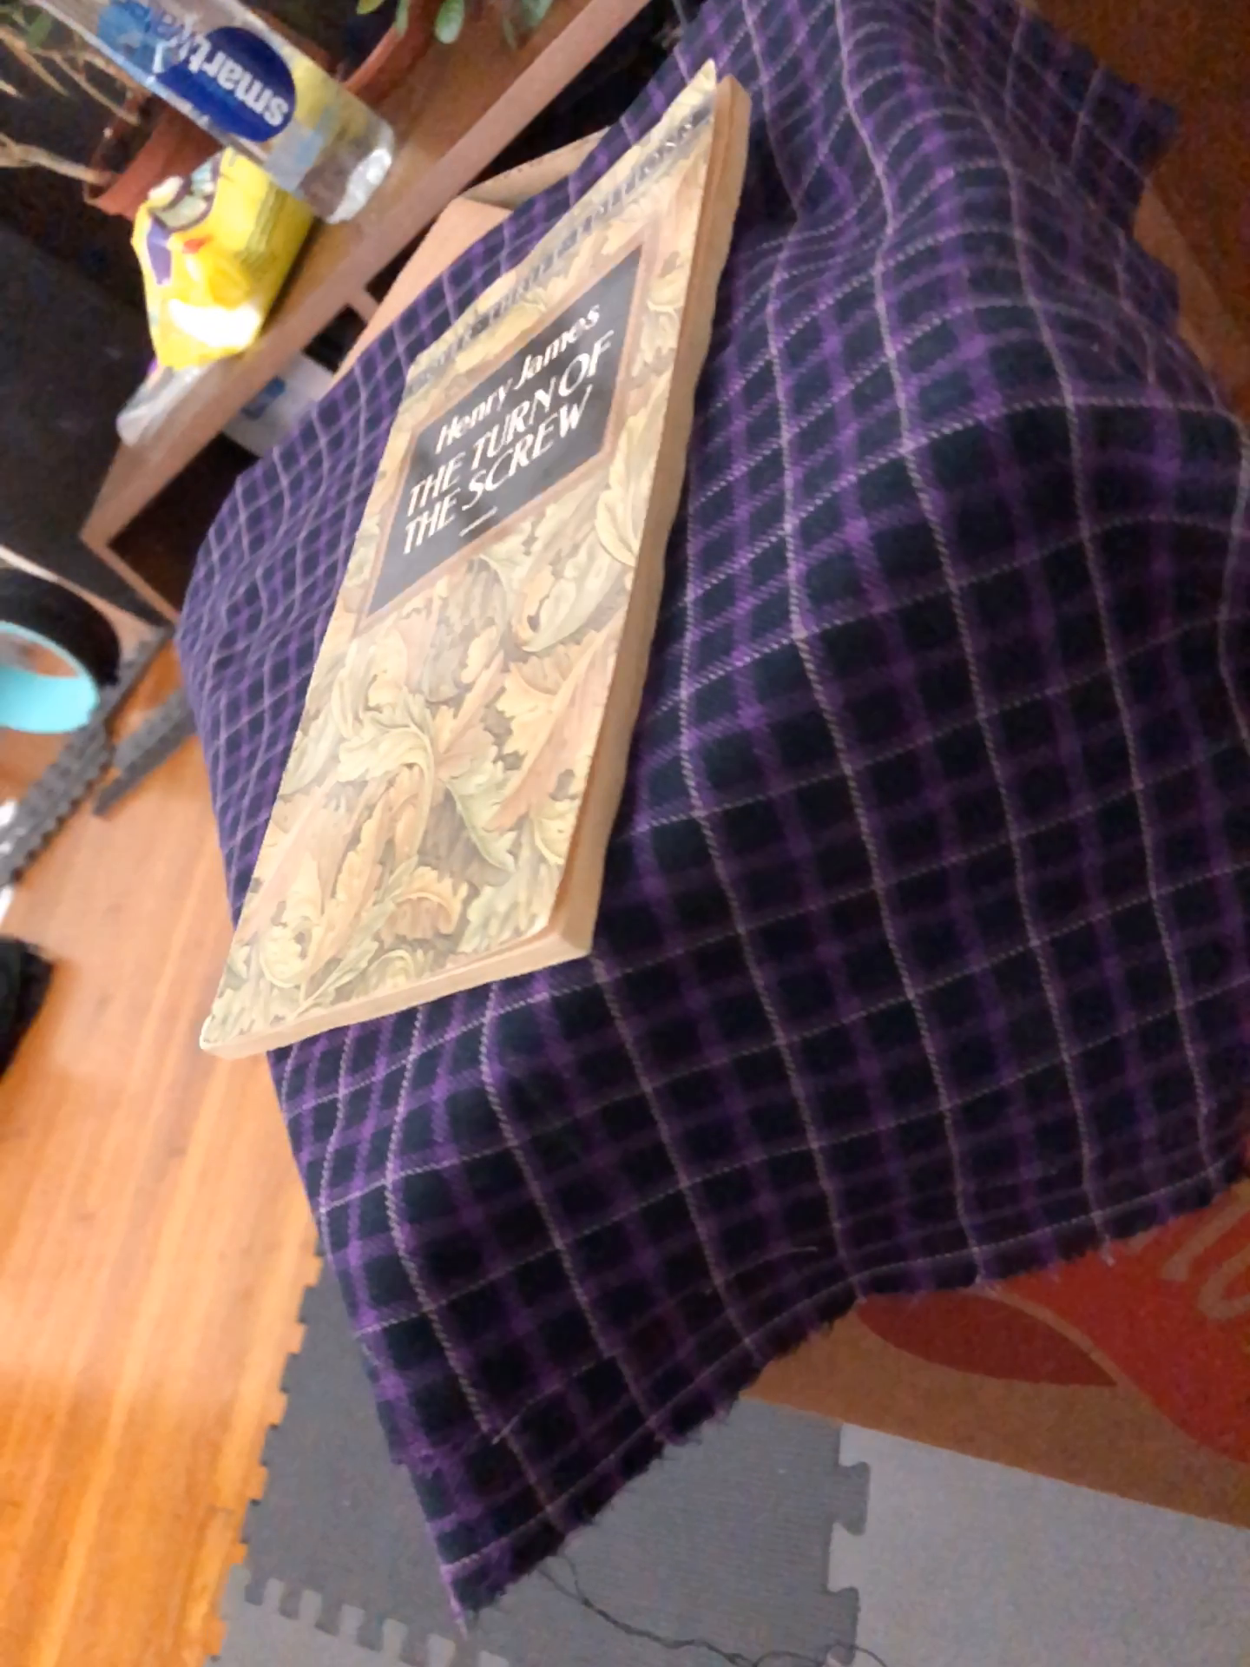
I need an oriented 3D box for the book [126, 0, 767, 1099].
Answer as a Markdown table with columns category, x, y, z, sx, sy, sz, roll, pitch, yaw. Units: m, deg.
| category | x | y | z | sx | sy | sz | roll | pitch | yaw |
| --- | --- | --- | --- | --- | --- | --- | --- | --- | --- |
| book | -0.037 | -0.059 | 0.292 | 0.140 | 0.010 | 0.221 | -21 | 49 | 46 |
